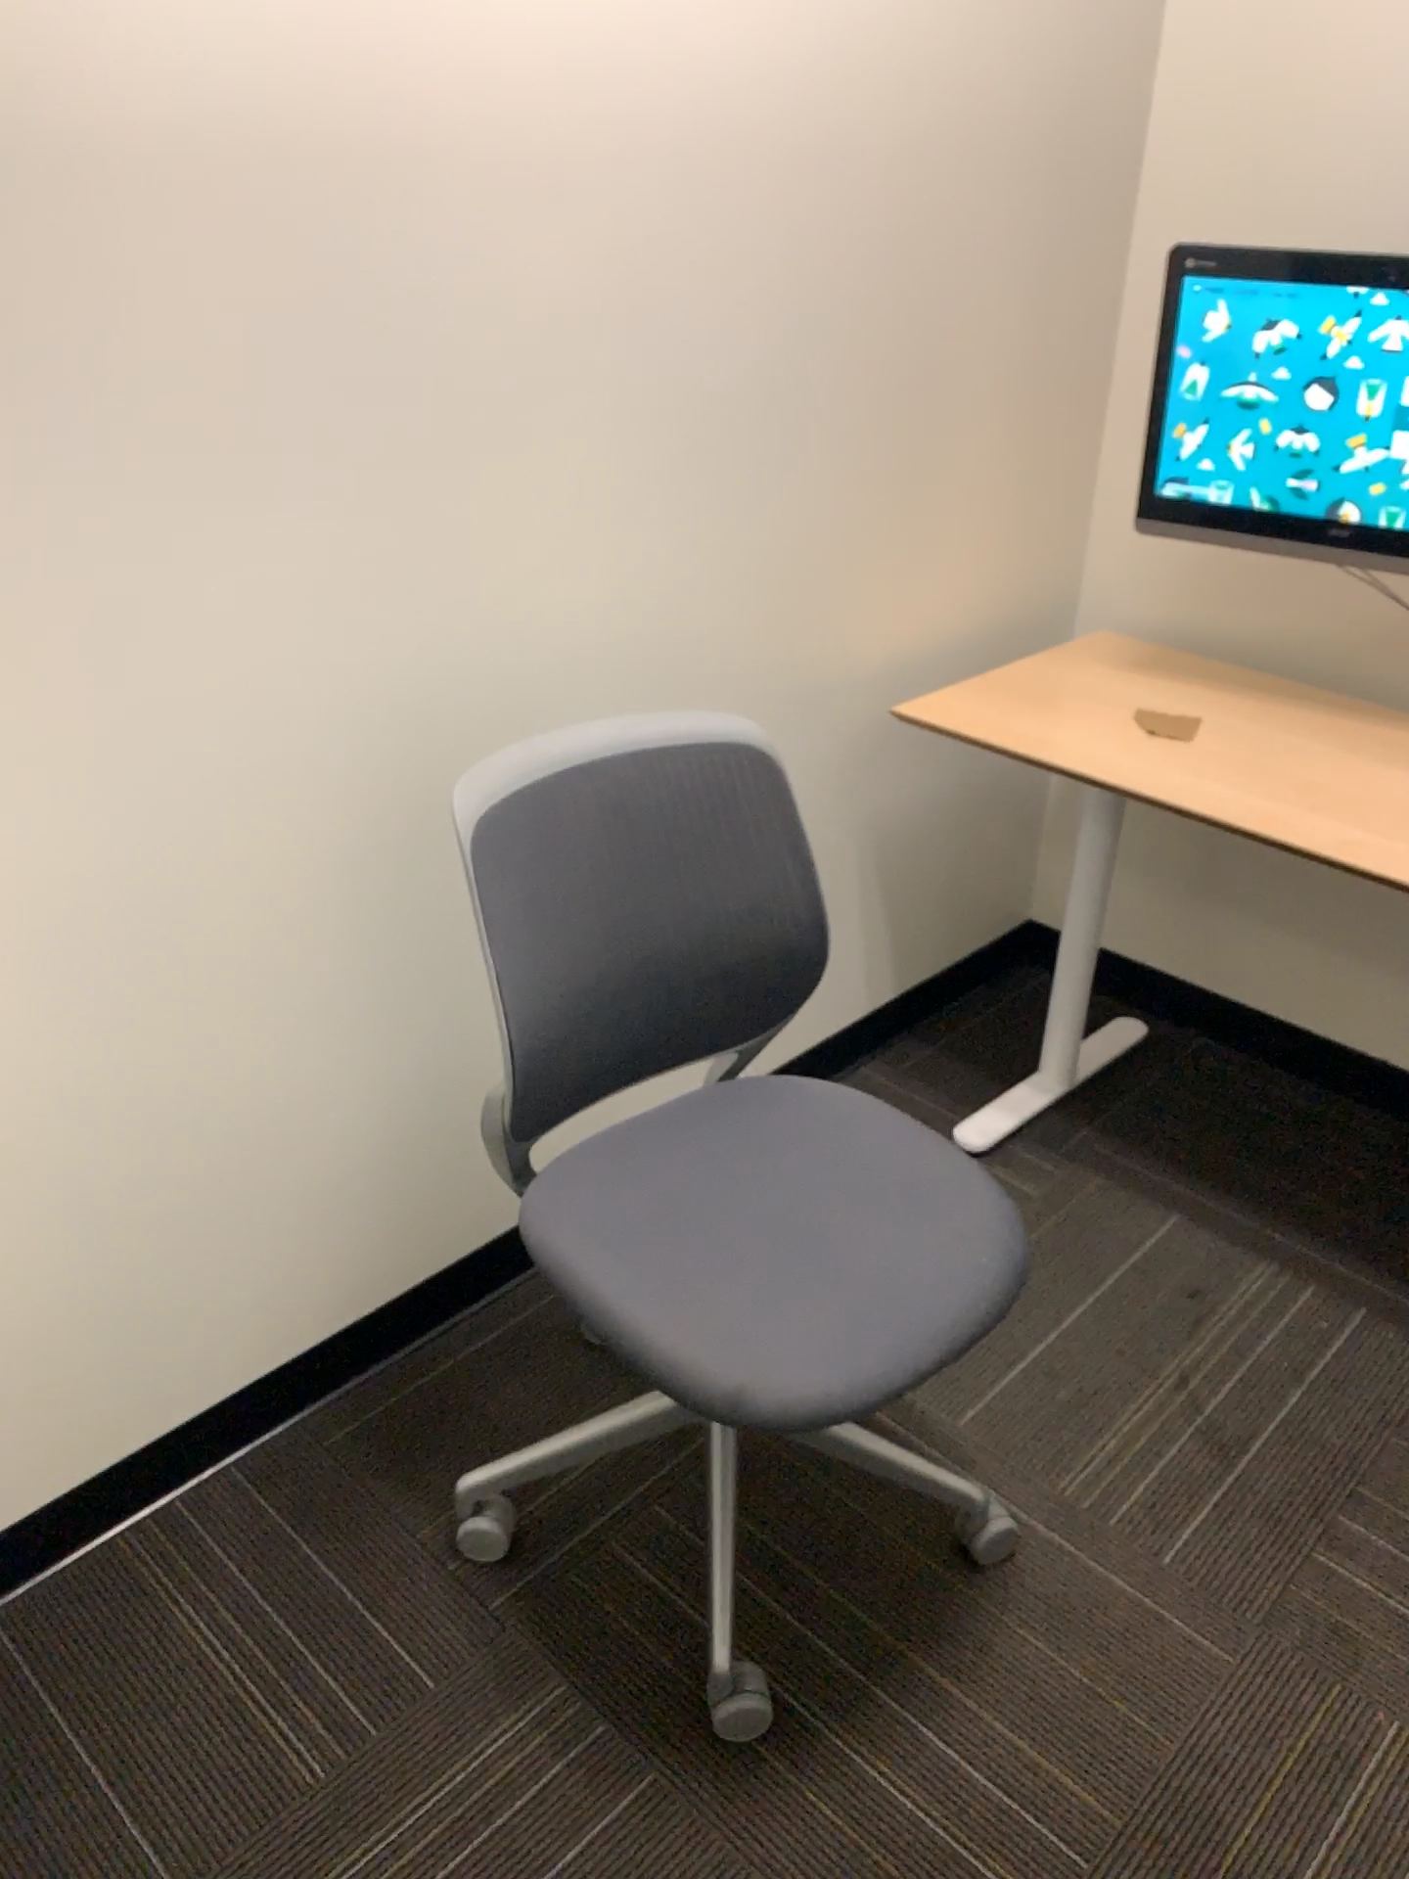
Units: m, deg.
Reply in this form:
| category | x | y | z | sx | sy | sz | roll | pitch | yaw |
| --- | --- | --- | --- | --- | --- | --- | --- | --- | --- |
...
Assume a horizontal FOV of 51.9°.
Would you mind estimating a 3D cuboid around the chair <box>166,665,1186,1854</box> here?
| category | x | y | z | sx | sy | sz | roll | pitch | yaw |
| --- | --- | --- | --- | --- | --- | --- | --- | --- | --- |
| chair | -0.085 | 0.274 | 1.788 | 0.721 | 0.885 | 0.904 | -19 | 35 | -32 |
